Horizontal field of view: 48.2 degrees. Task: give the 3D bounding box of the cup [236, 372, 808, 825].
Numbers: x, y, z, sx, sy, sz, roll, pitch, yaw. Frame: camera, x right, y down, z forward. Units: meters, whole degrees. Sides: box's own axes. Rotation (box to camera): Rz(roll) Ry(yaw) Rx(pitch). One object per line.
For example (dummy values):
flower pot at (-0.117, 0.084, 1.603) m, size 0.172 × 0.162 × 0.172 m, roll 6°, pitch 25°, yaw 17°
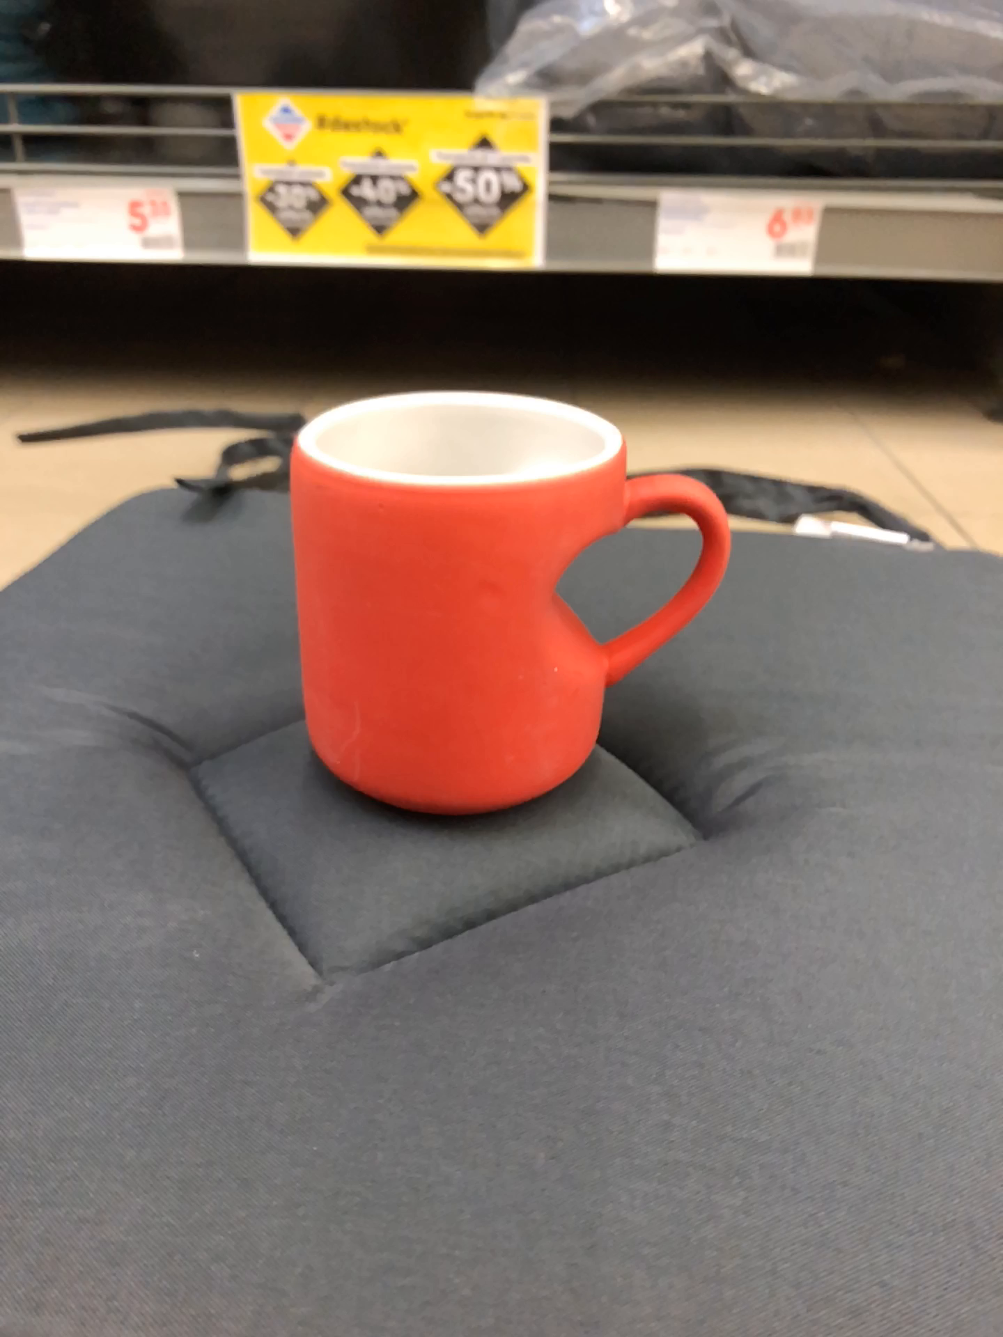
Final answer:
cup at (0.004, -0.022, 0.296) m, size 0.120 × 0.089 × 0.091 m, roll 0°, pitch 27°, yaw -1°
